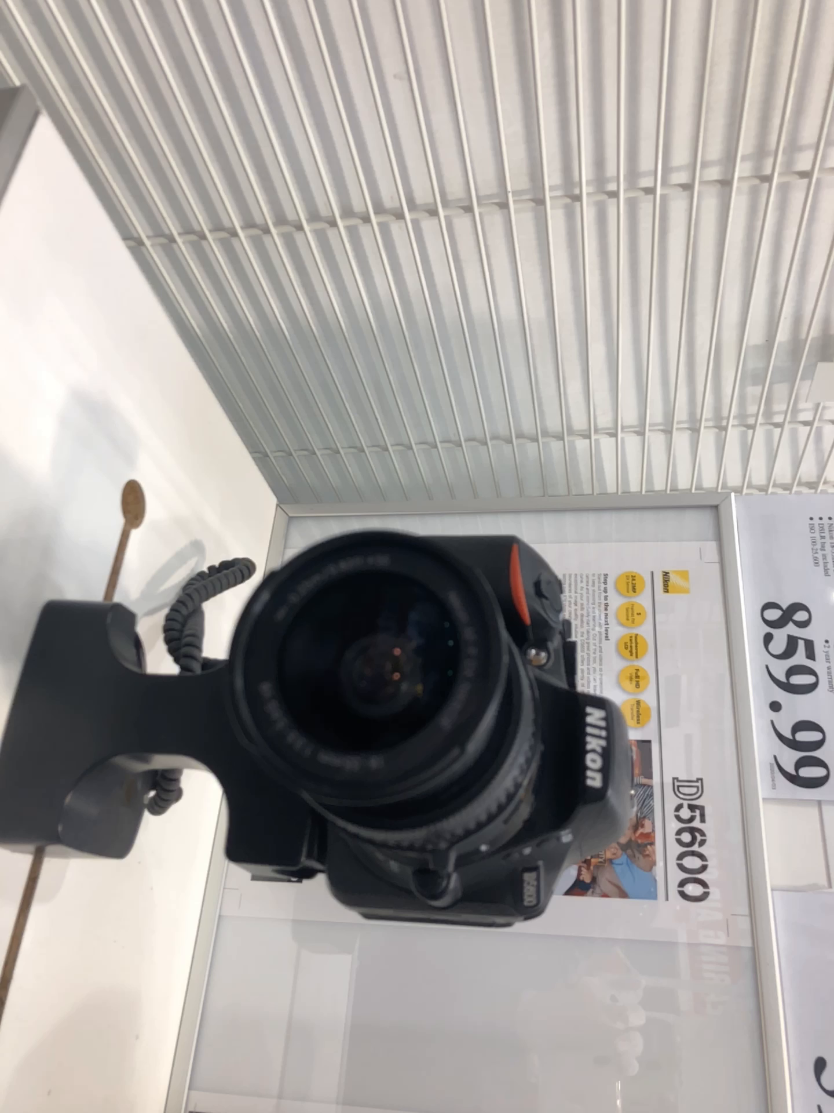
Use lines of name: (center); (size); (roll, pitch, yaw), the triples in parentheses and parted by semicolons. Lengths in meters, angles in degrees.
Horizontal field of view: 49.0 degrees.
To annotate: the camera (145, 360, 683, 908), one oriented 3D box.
camera: (0.014, 0.039, 0.279); (0.160, 0.110, 0.120); (65, 26, -66)
